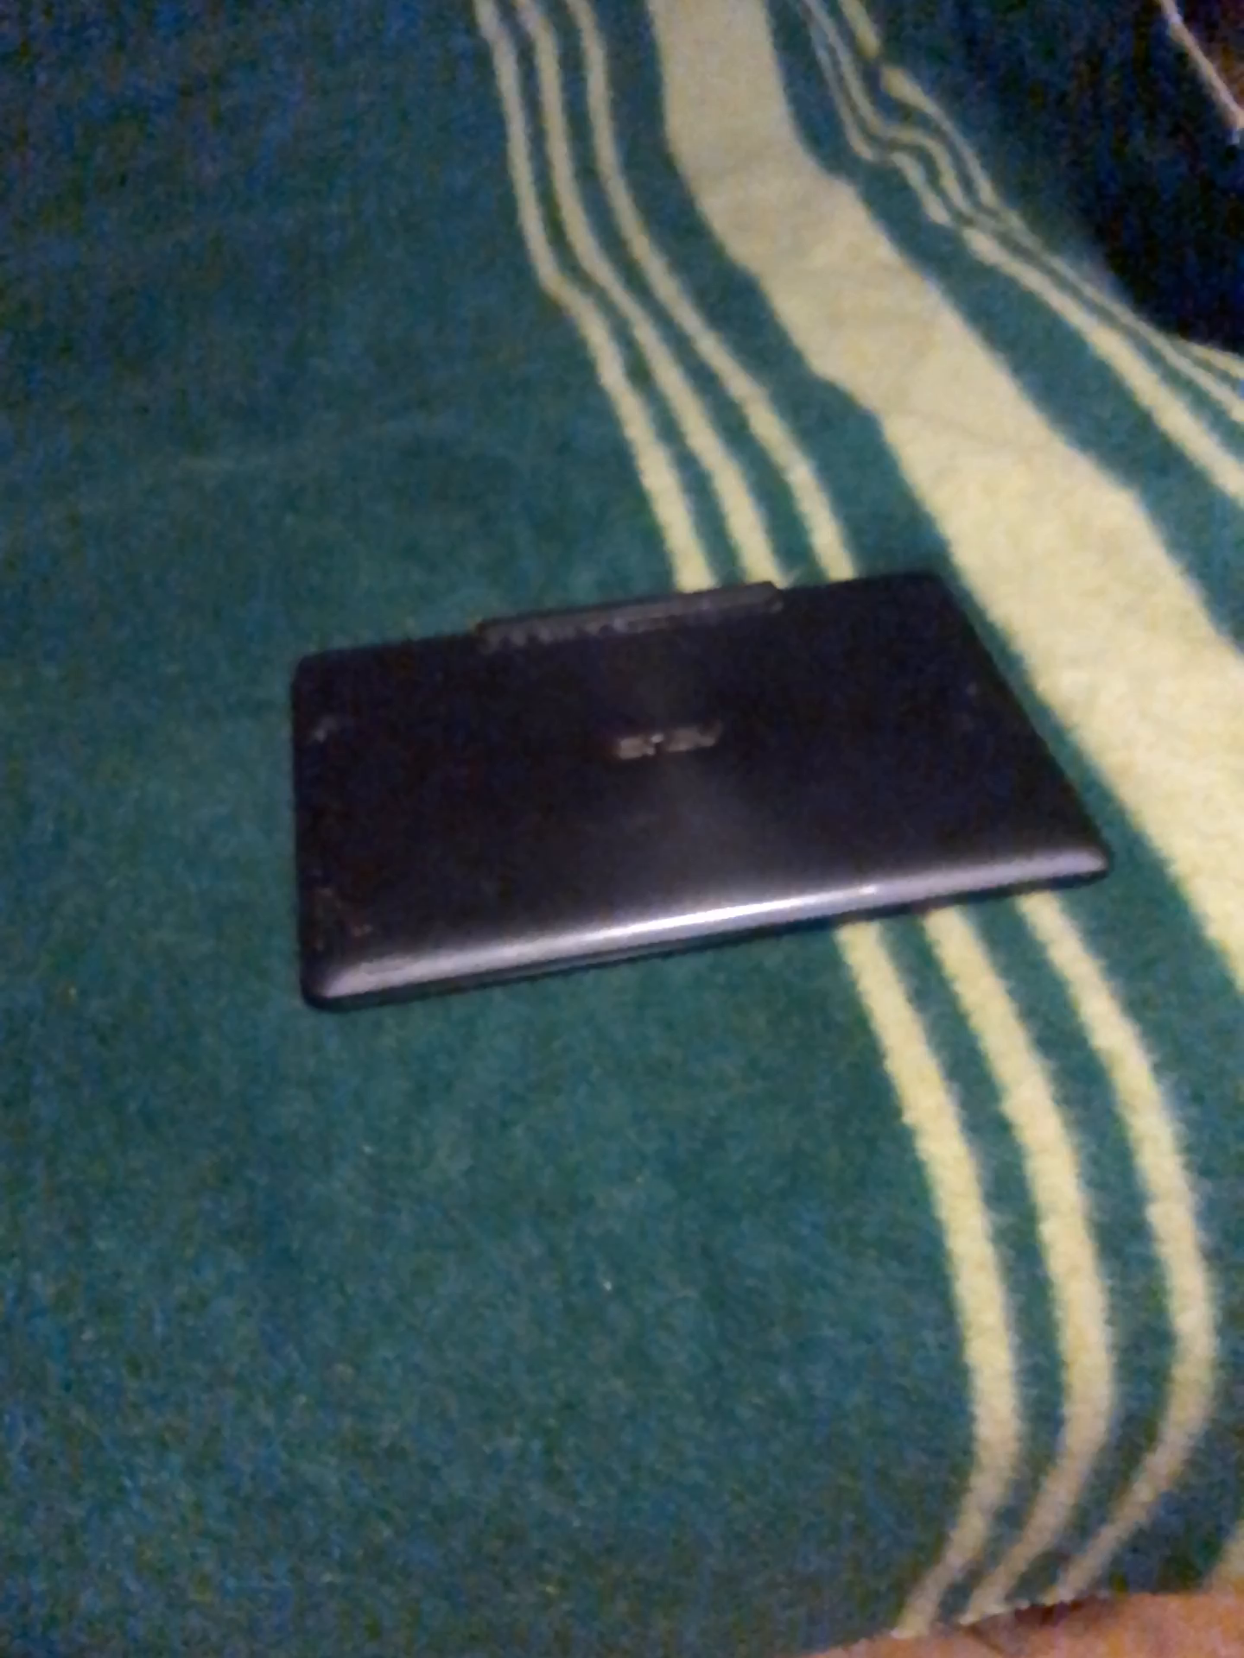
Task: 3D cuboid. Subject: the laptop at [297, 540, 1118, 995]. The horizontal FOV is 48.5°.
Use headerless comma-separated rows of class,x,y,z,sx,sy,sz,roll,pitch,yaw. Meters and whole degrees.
laptop,0.018,-0.033,0.496,0.262,0.017,0.168,-9,45,-7
